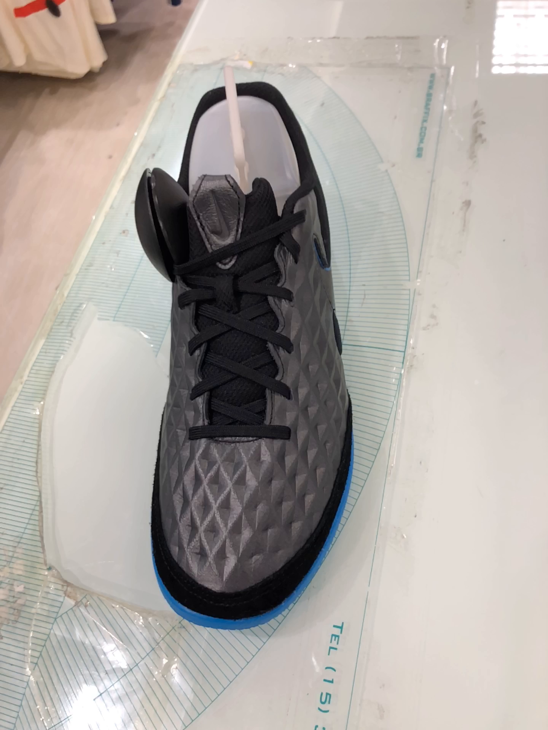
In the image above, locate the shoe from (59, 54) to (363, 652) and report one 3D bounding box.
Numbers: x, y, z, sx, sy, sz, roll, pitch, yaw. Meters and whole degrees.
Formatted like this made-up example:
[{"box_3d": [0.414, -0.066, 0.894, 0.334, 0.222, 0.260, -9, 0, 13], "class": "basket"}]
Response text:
[{"box_3d": [-0.007, -0.020, 0.314, 0.100, 0.100, 0.291, -1, 60, 9], "class": "shoe"}]
